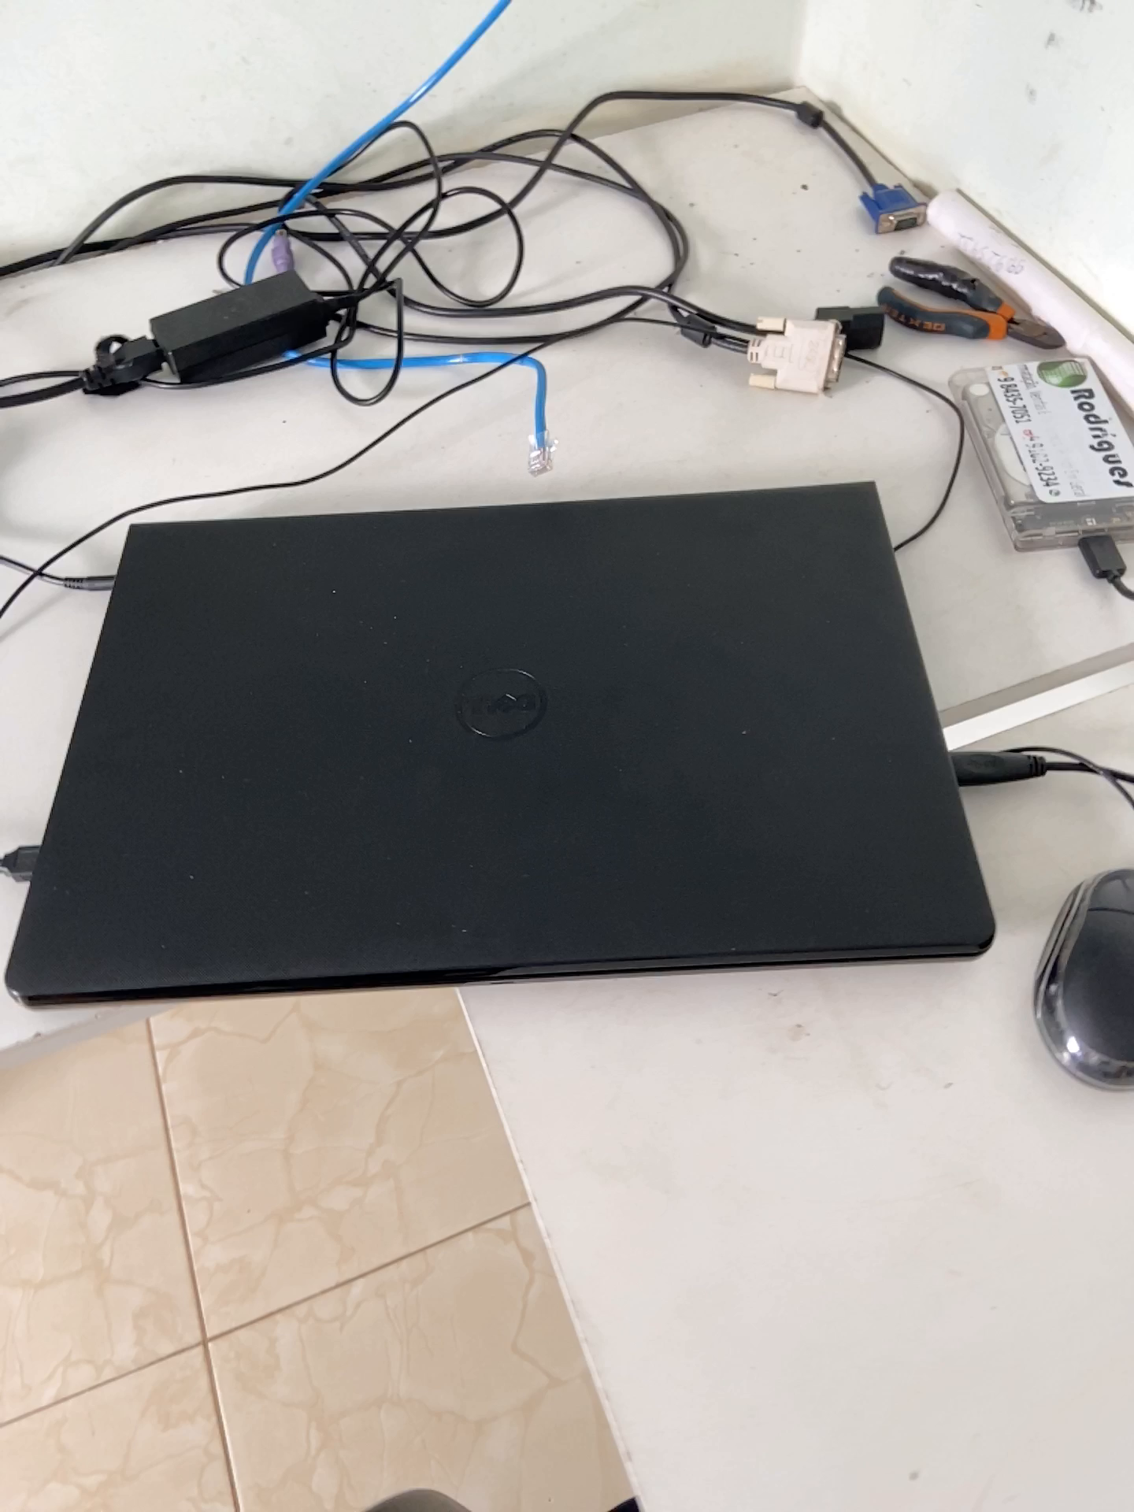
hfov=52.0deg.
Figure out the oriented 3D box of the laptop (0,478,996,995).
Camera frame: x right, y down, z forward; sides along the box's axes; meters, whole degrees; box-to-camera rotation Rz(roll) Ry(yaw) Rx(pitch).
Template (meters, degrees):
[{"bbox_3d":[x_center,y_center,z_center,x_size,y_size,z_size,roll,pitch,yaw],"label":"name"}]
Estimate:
[{"bbox_3d":[-0.029,-0.026,0.517,0.376,0.003,0.261,-3,53,0],"label":"laptop"}]
